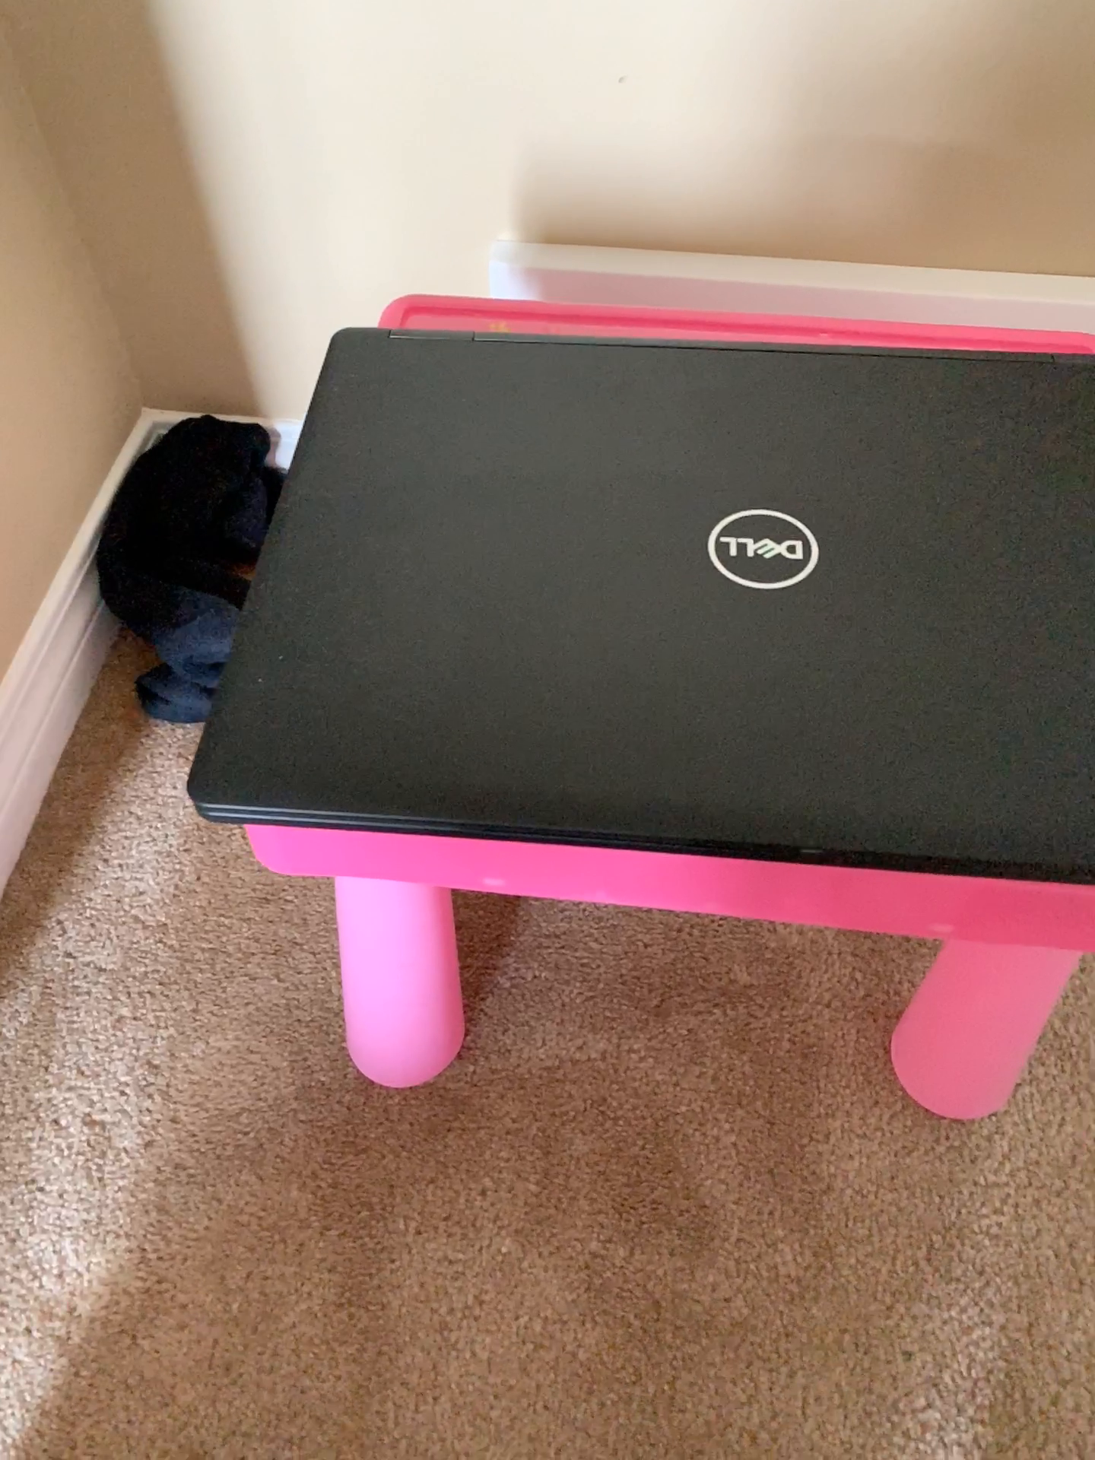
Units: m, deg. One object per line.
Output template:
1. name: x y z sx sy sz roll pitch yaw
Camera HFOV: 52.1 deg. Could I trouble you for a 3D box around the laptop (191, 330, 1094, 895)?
1. laptop: 0.079 -0.064 0.412 0.366 0.005 0.241 4 56 4
